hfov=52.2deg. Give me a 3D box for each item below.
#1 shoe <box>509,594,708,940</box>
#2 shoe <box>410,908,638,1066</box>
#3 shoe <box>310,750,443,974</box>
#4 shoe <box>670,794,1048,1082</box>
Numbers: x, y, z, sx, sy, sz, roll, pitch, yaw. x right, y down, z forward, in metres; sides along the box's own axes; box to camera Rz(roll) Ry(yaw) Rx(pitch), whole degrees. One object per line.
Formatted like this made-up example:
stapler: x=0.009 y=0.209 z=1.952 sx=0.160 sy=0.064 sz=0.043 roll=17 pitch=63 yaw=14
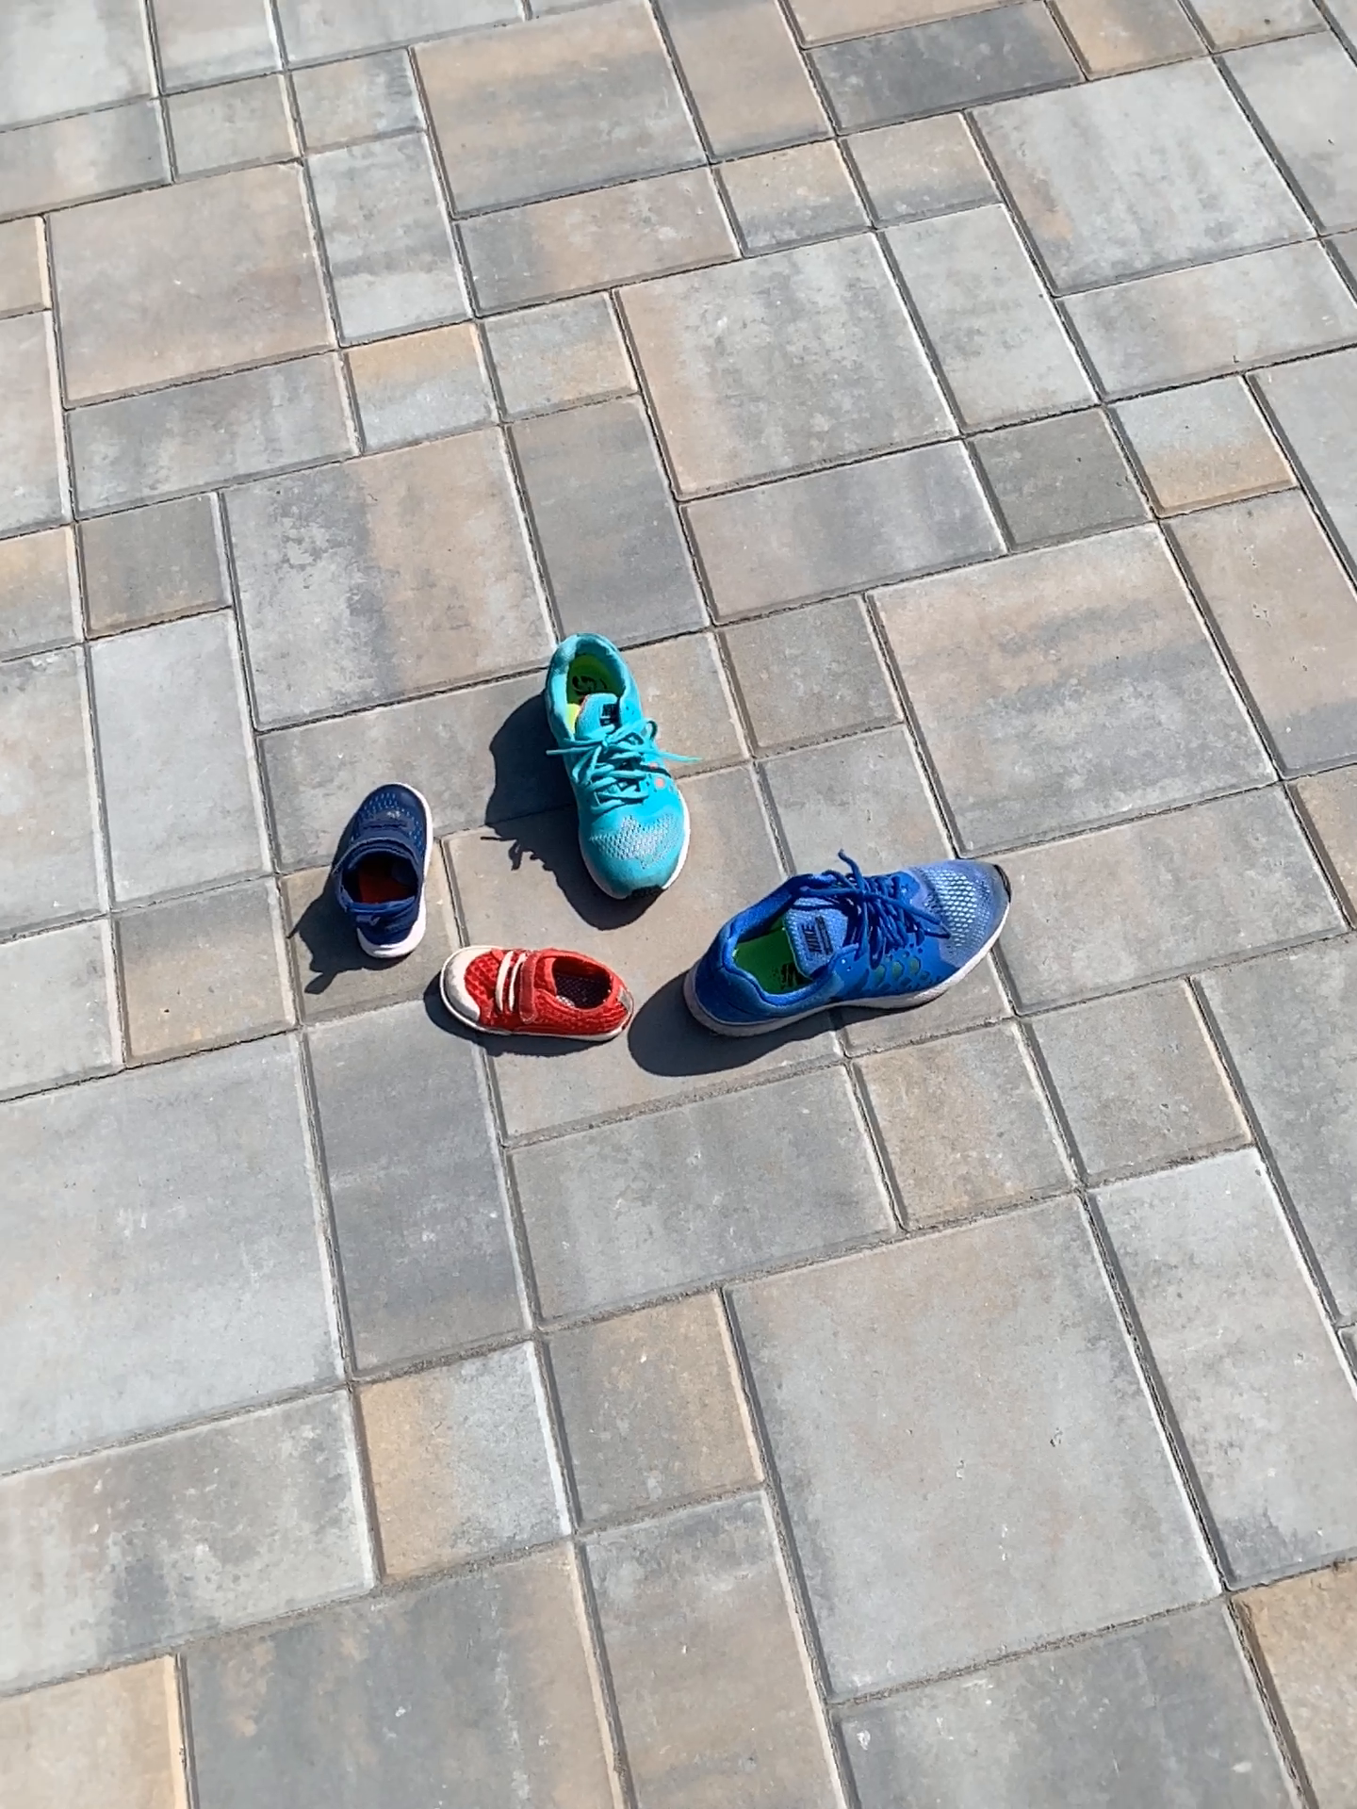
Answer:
shoe: x=-0.056 y=-0.110 z=1.107 sx=0.100 sy=0.100 sz=0.240 roll=-14 pitch=68 yaw=-3
shoe: x=-0.113 y=0.063 z=1.045 sx=0.150 sy=0.080 sz=0.080 roll=7 pitch=69 yaw=5
shoe: x=-0.236 y=-0.033 z=1.083 sx=0.080 sy=0.070 sz=0.150 roll=-8 pitch=68 yaw=-1
shoe: x=0.128 y=0.027 z=1.025 sx=0.240 sy=0.110 sz=0.110 roll=-19 pitch=69 yaw=-5
